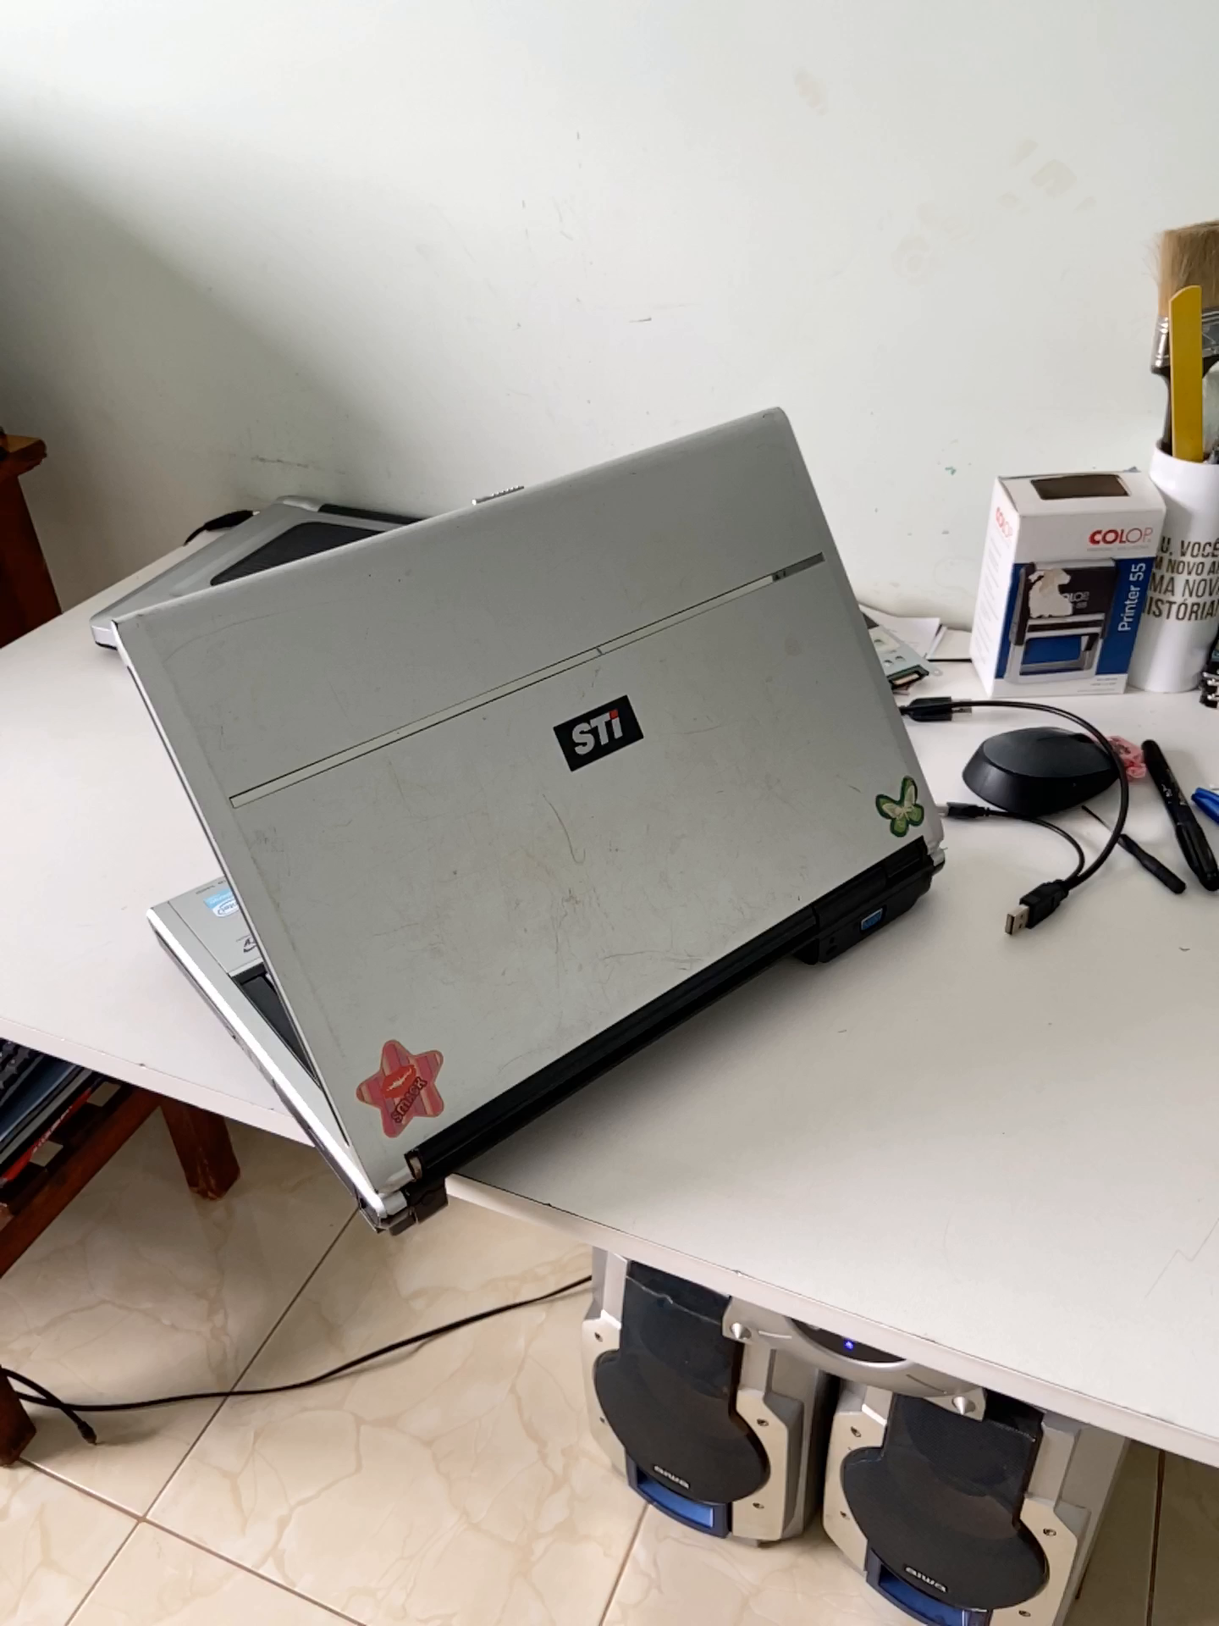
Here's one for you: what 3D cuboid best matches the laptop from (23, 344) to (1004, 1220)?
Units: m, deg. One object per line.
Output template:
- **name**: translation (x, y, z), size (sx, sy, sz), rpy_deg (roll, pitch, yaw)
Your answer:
- **laptop**: translation (-0.032, -0.049, 0.584), size (0.338, 0.210, 0.236), rpy_deg (-27, 43, -30)
